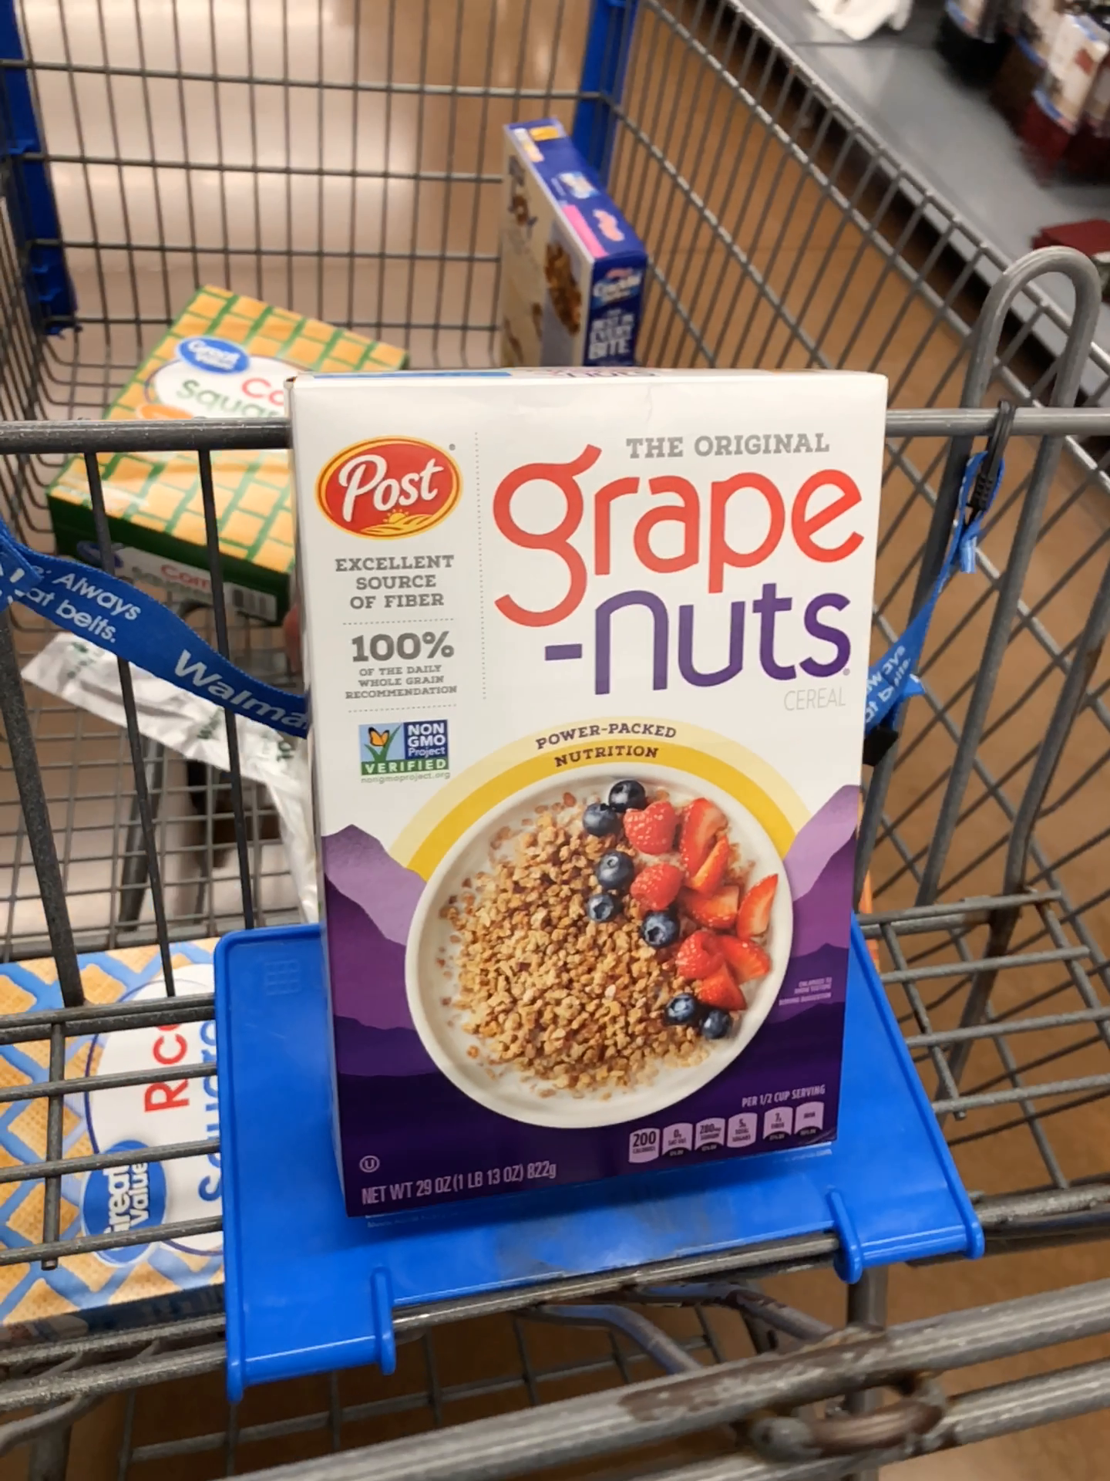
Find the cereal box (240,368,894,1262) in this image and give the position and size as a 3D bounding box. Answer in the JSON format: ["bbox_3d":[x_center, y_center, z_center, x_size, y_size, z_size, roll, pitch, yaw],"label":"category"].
[{"bbox_3d":[0.003,0.020,0.368,0.170,0.250,0.050,-4,16,-13],"label":"cereal box"}]
